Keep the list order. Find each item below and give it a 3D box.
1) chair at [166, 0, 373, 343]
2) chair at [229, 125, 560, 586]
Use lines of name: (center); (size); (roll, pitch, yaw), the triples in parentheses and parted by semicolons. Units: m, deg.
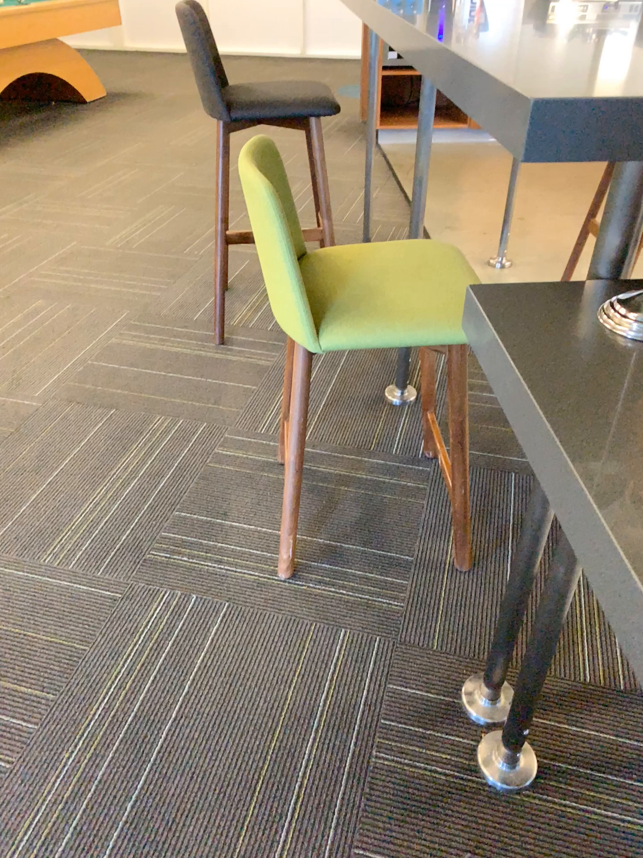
chair: (-0.162, -0.897, 2.259); (0.540, 0.974, 0.644); (-3, 36, -4)
chair: (0.096, -0.133, 1.367); (0.480, 0.825, 0.443); (-2, 36, -2)
